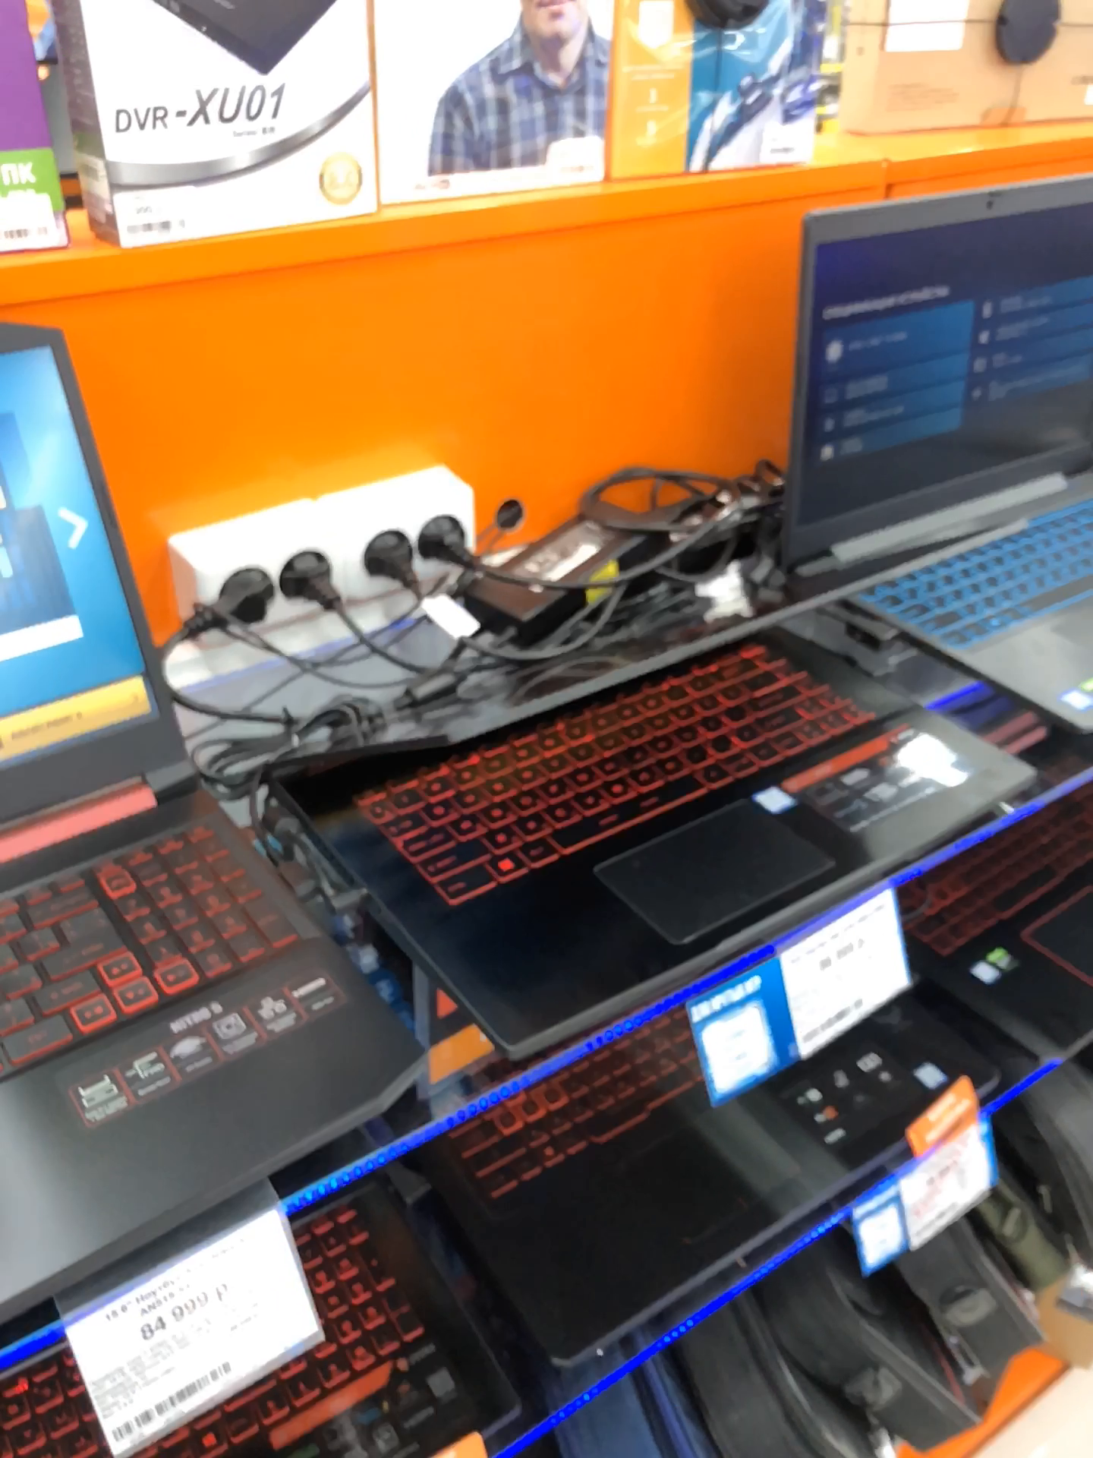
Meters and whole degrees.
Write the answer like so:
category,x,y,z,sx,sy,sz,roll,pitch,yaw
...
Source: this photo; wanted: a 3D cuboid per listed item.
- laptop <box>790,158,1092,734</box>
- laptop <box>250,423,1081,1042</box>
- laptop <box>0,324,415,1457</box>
category,x,y,z,sx,sy,sz,roll,pitch,yaw
laptop,0.382,-0.218,0.820,0.326,0.228,0.279,-19,38,-24
laptop,0.061,-0.030,0.634,0.347,0.134,0.226,-20,39,-30
laptop,-0.299,0.024,0.459,0.366,0.225,0.330,-21,39,-30
